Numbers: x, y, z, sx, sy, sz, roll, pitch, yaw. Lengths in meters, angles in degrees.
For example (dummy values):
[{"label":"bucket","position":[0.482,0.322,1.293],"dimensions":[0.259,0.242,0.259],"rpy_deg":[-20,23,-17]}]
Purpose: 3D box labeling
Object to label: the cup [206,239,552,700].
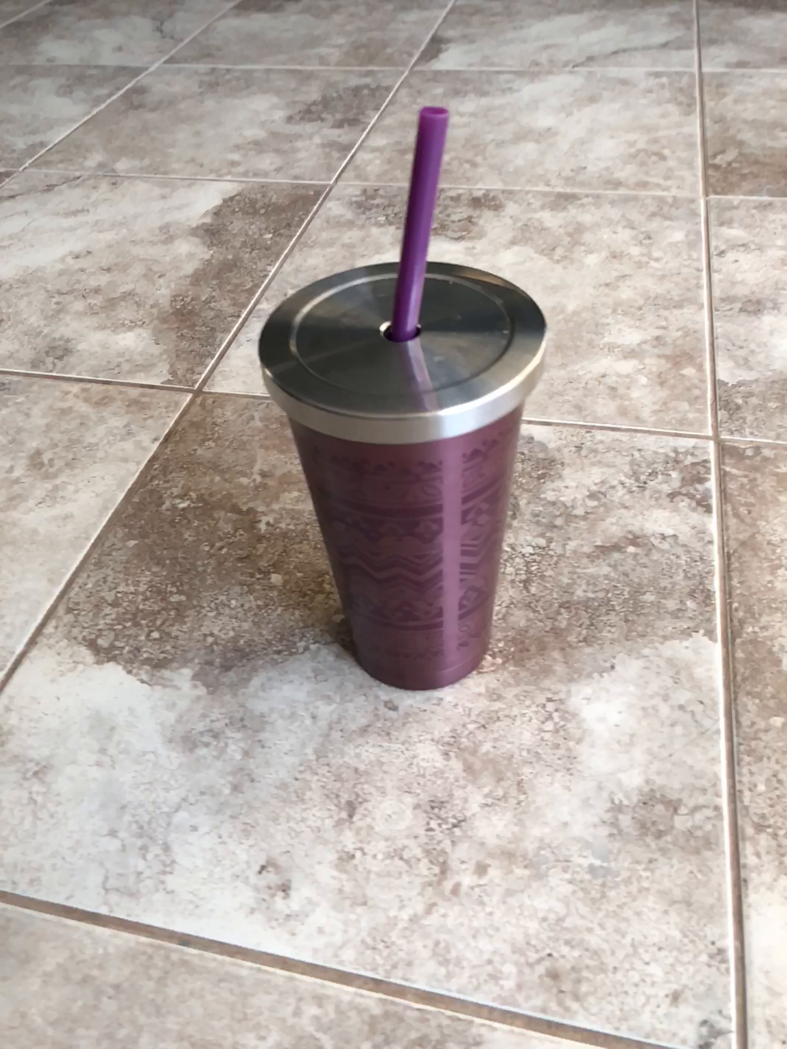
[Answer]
[{"label":"cup","position":[0.004,-0.019,0.369],"dimensions":[0.111,0.165,0.103],"rpy_deg":[-2,43,2]}]
